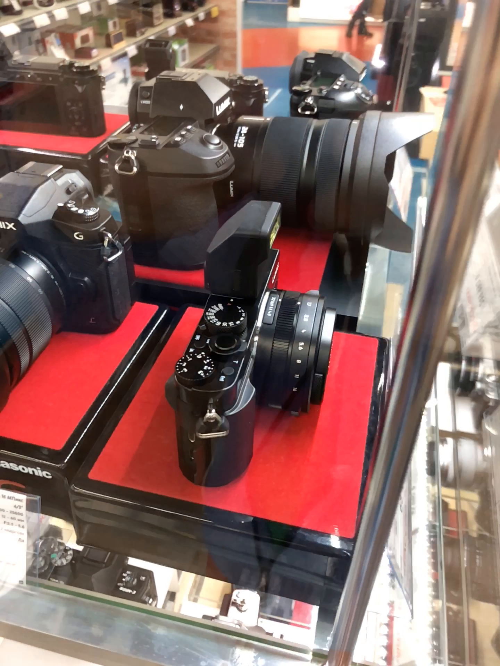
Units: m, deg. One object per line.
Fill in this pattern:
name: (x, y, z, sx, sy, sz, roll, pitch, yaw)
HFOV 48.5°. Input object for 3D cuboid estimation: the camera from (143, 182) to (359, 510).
camera: (0.007, 0.000, 0.268, 0.069, 0.098, 0.117, 8, 38, 9)

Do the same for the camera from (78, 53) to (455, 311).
camera: (0.021, -0.128, 0.429, 0.226, 0.114, 0.176, 8, 38, 9)

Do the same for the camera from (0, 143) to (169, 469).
camera: (-0.118, -0.026, 0.282, 0.098, 0.081, 0.150, 10, 39, 12)
